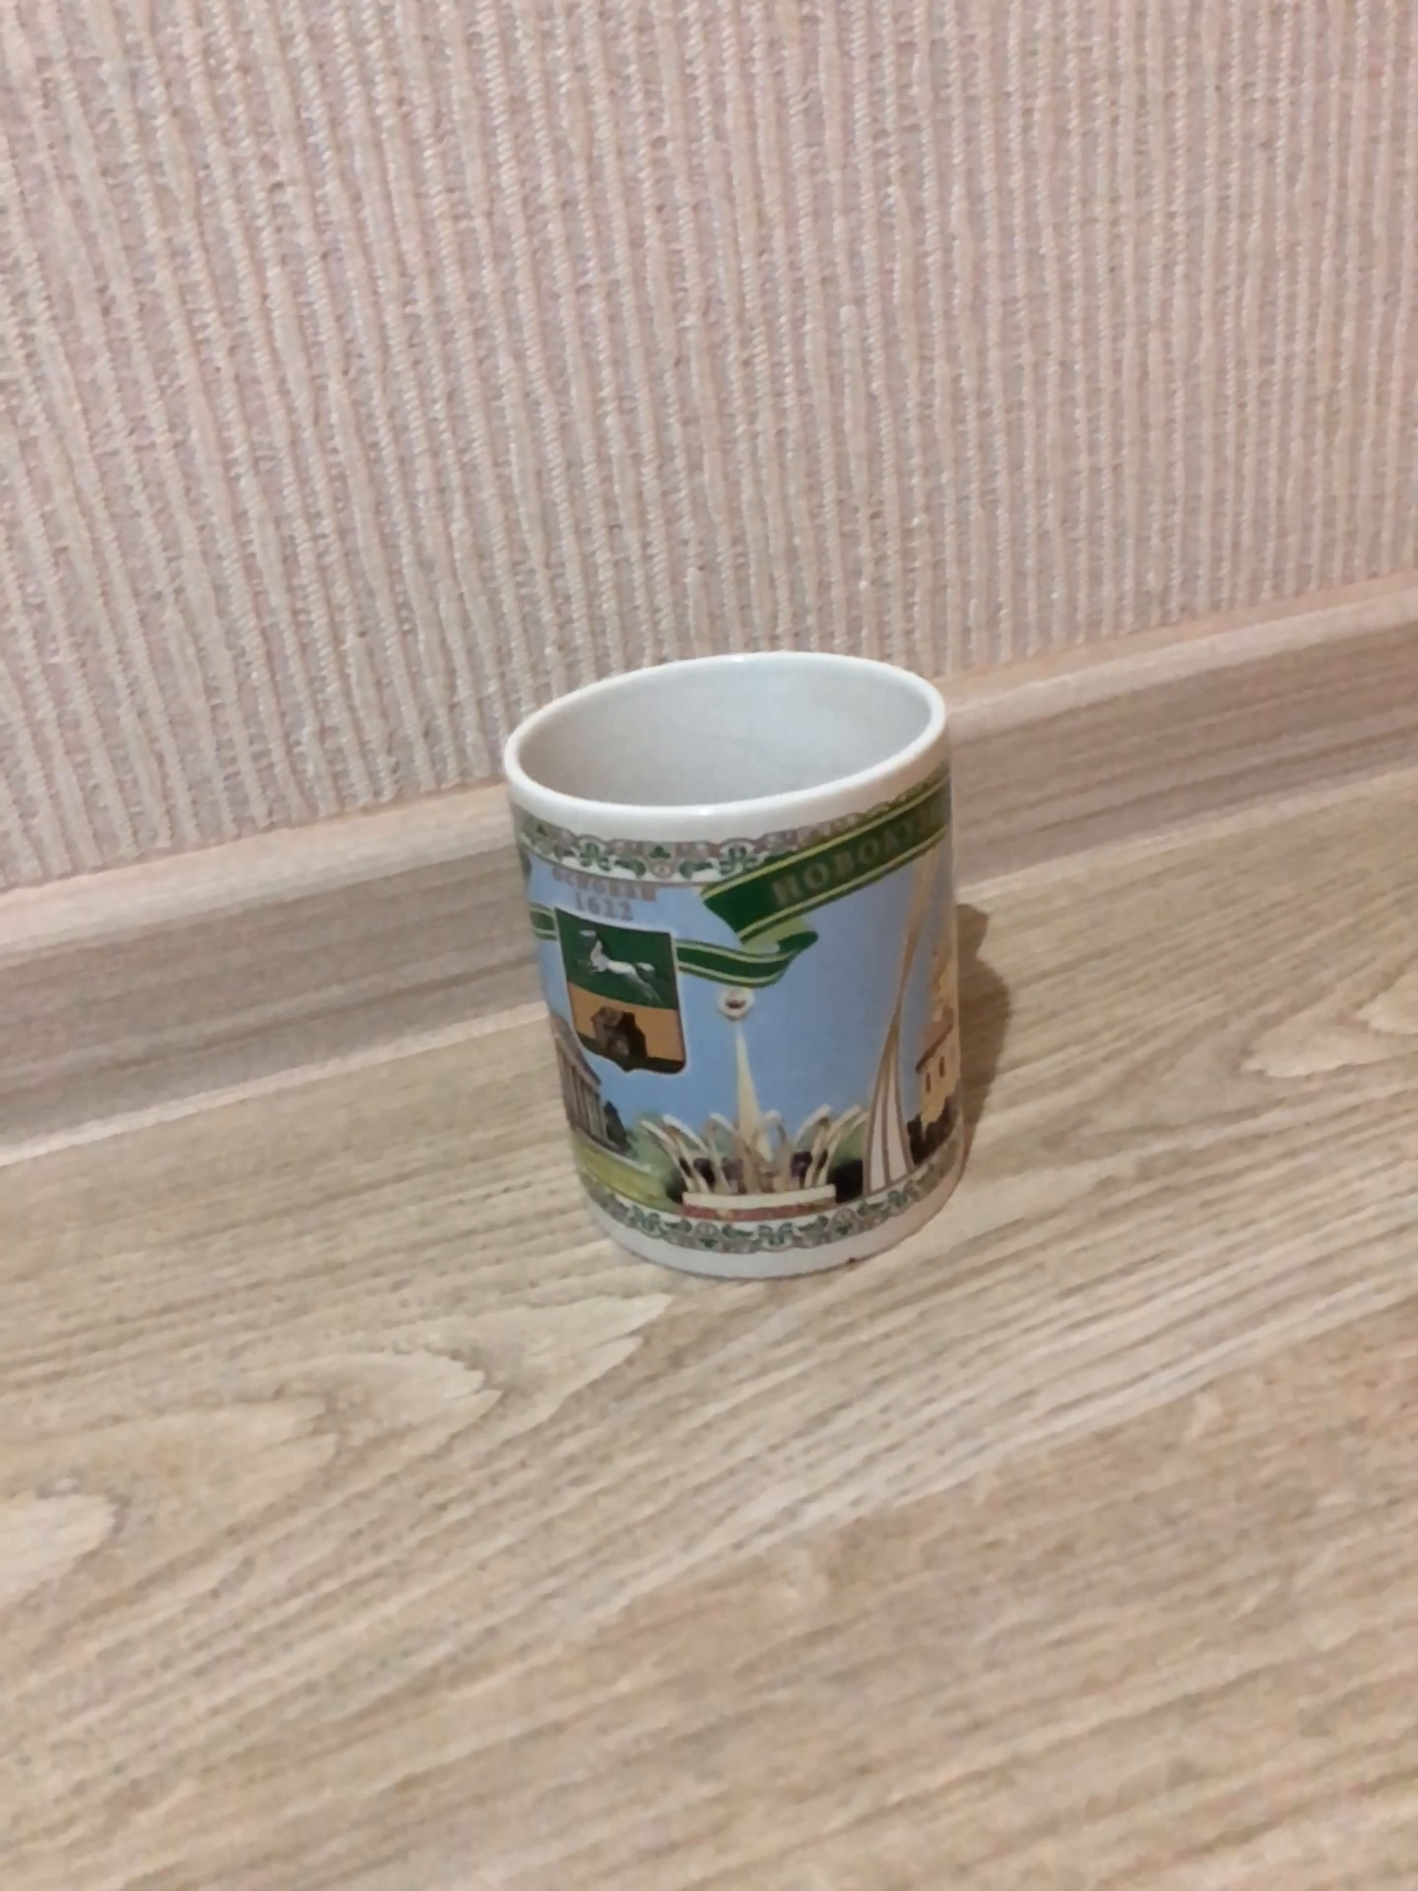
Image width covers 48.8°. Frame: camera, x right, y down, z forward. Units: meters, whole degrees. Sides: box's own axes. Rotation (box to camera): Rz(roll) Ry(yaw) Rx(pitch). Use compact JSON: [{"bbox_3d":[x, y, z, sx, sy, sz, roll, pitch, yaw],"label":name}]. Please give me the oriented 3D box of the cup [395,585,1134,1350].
[{"bbox_3d":[0.019,-0.007,0.313,0.082,0.096,0.121,15,33,38],"label":"cup"}]
